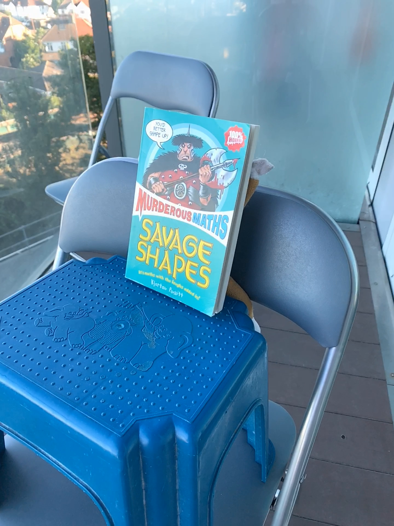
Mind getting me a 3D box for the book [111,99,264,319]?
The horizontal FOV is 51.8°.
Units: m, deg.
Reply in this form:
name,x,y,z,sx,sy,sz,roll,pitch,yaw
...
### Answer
name,x,y,z,sx,sy,sz,roll,pitch,yaw
book,-0.019,-0.058,0.422,0.134,0.193,0.029,20,20,27
